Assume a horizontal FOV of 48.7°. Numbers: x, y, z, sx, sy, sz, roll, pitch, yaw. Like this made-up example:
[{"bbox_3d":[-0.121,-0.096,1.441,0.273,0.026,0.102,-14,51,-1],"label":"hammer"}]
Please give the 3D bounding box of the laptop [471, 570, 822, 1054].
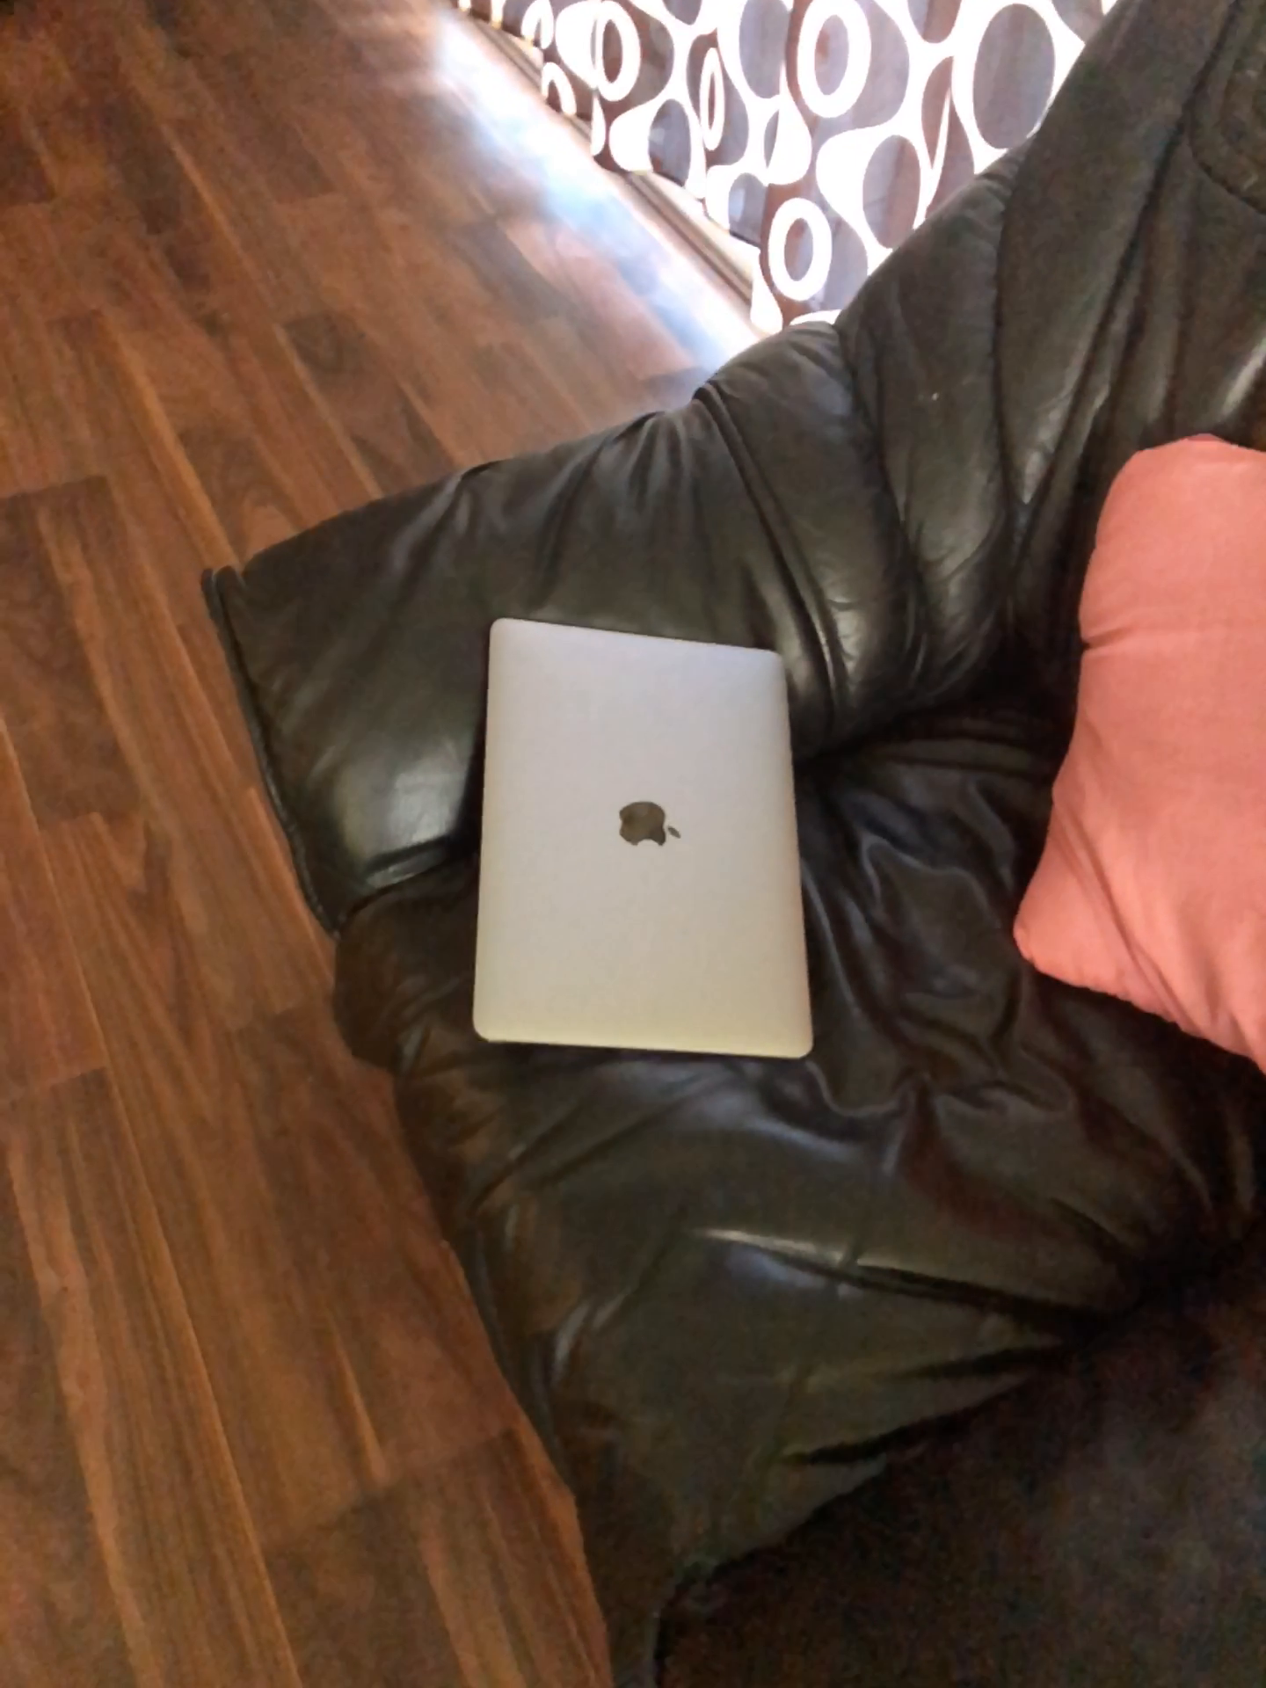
[{"bbox_3d":[0.009,-0.022,0.791,0.185,0.036,0.265,6,62,-12],"label":"laptop"}]
